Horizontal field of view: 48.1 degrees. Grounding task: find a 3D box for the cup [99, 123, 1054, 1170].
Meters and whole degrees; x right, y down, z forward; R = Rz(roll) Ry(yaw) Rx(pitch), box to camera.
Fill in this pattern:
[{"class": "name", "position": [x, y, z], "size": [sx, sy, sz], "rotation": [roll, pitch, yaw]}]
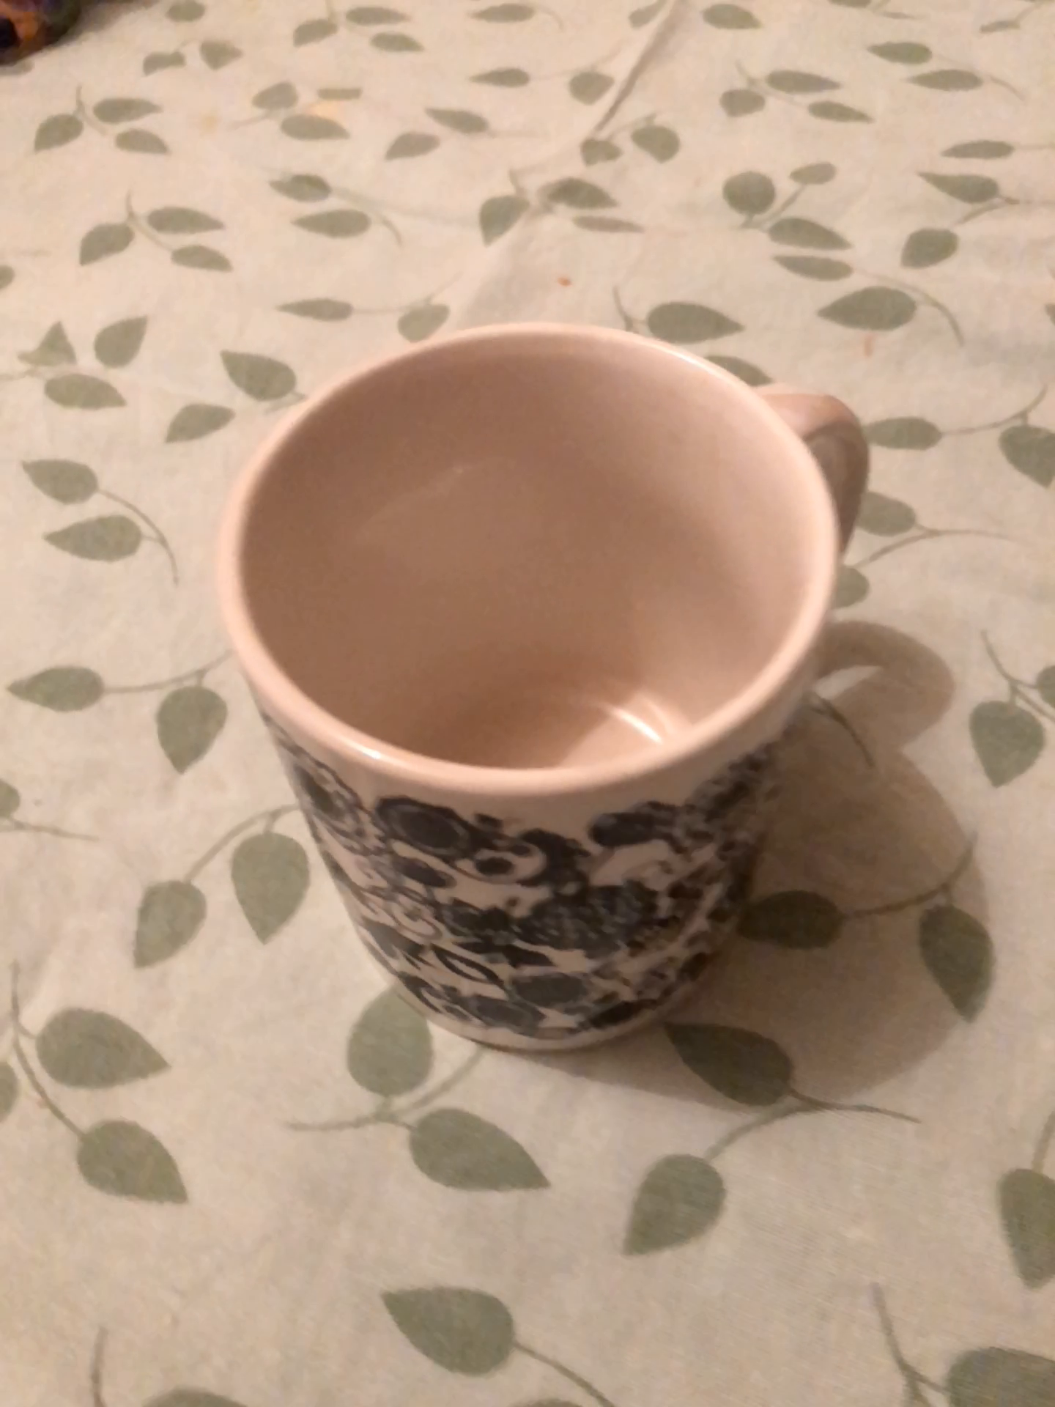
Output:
[{"class": "cup", "position": [0.019, -0.009, 0.194], "size": [0.120, 0.099, 0.080], "rotation": [-37, 62, -21]}]
